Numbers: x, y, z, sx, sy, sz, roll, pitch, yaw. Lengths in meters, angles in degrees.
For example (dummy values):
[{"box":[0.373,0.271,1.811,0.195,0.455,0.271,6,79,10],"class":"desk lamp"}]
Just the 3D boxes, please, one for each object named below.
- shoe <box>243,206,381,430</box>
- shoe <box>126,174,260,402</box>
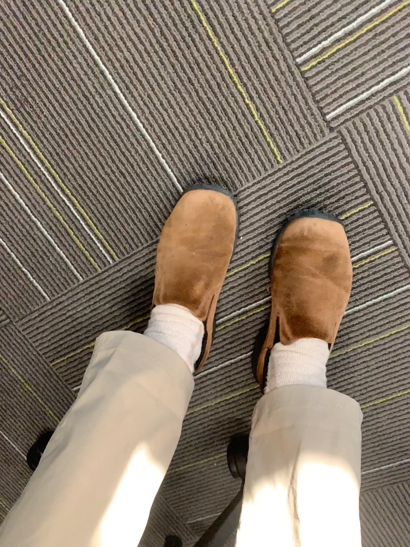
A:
[{"box":[0.139,0.071,0.602,0.120,0.077,0.308,9,116,6],"class":"shoe"},{"box":[-0.024,0.029,0.606,0.119,0.077,0.308,16,117,3],"class":"shoe"}]
